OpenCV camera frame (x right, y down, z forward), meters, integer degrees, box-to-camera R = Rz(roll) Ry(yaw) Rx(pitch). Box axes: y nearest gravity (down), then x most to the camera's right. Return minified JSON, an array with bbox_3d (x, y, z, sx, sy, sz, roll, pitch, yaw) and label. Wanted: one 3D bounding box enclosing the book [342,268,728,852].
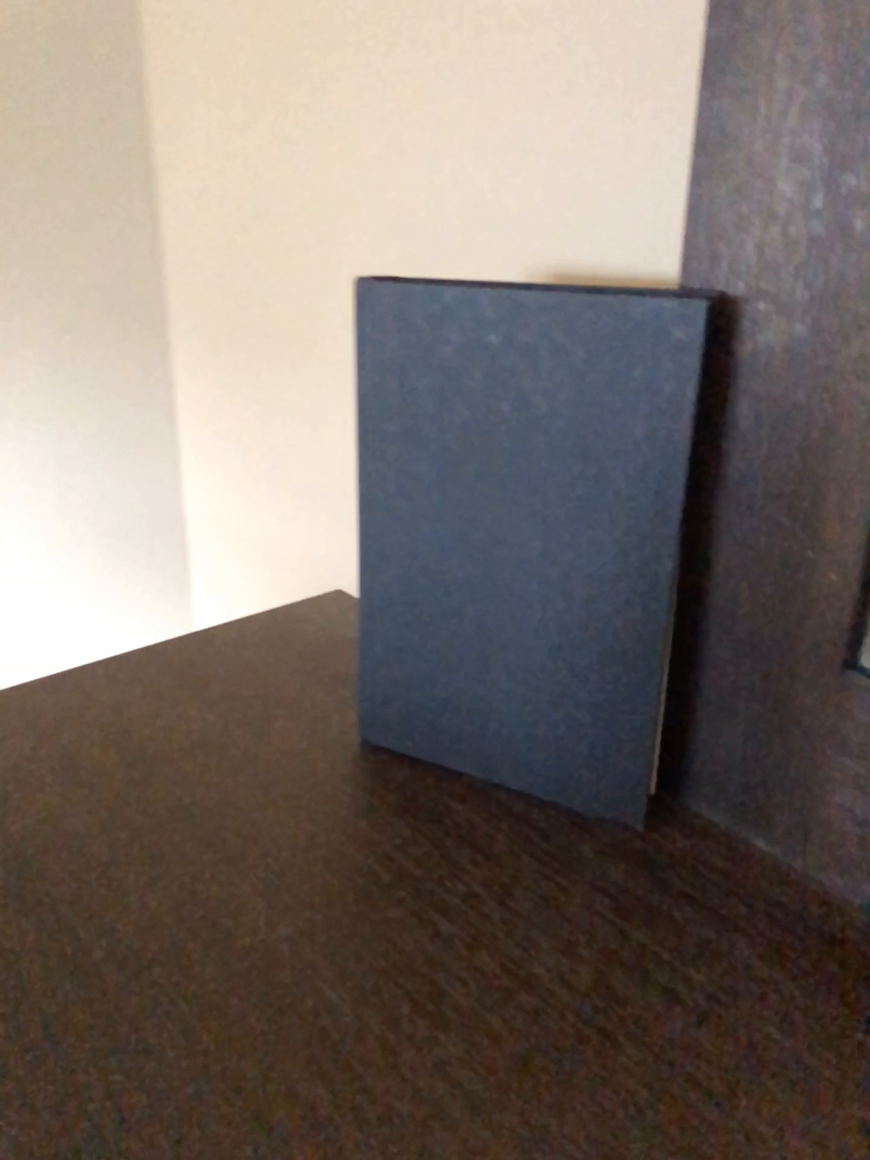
[{"bbox_3d":[0.033,-0.009,0.411,0.150,0.229,0.028,12,24,27],"label":"book"}]
